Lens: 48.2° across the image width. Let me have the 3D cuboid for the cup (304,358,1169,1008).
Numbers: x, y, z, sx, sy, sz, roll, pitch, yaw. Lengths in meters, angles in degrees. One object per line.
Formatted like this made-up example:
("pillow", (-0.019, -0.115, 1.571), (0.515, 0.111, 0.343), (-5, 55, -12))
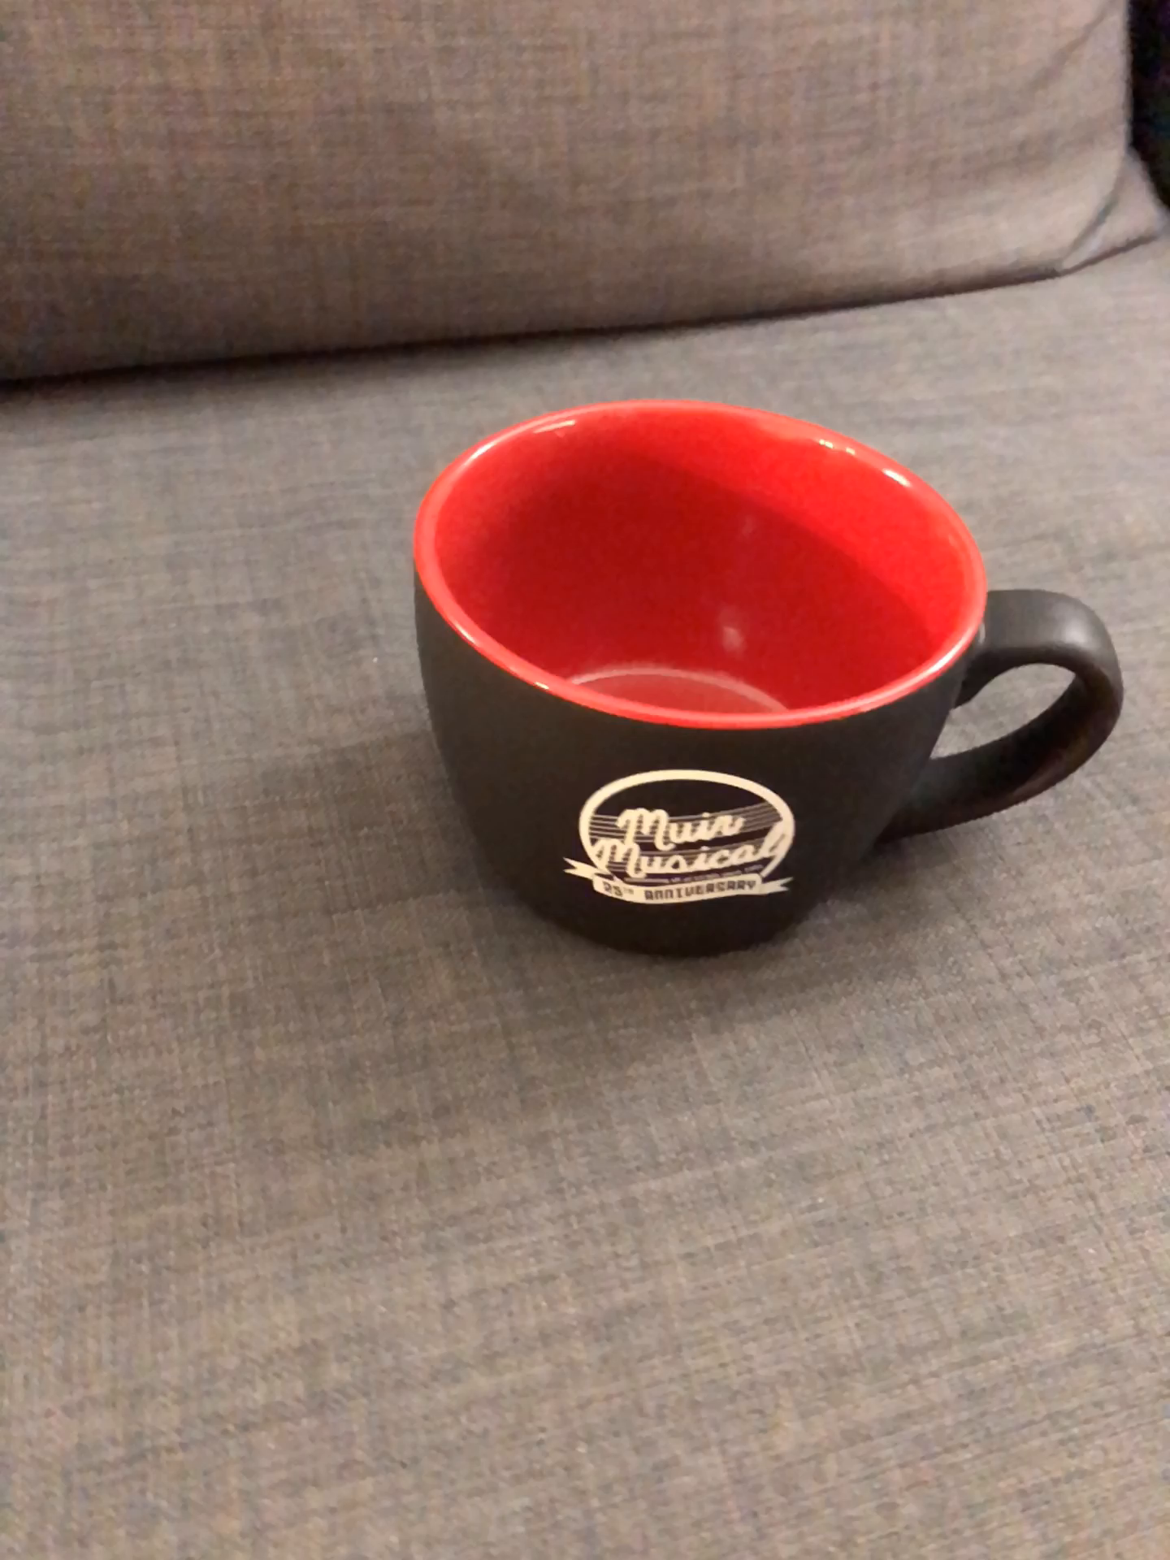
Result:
("cup", (0.034, -0.027, 0.296), (0.160, 0.080, 0.121), (4, 43, 2))
